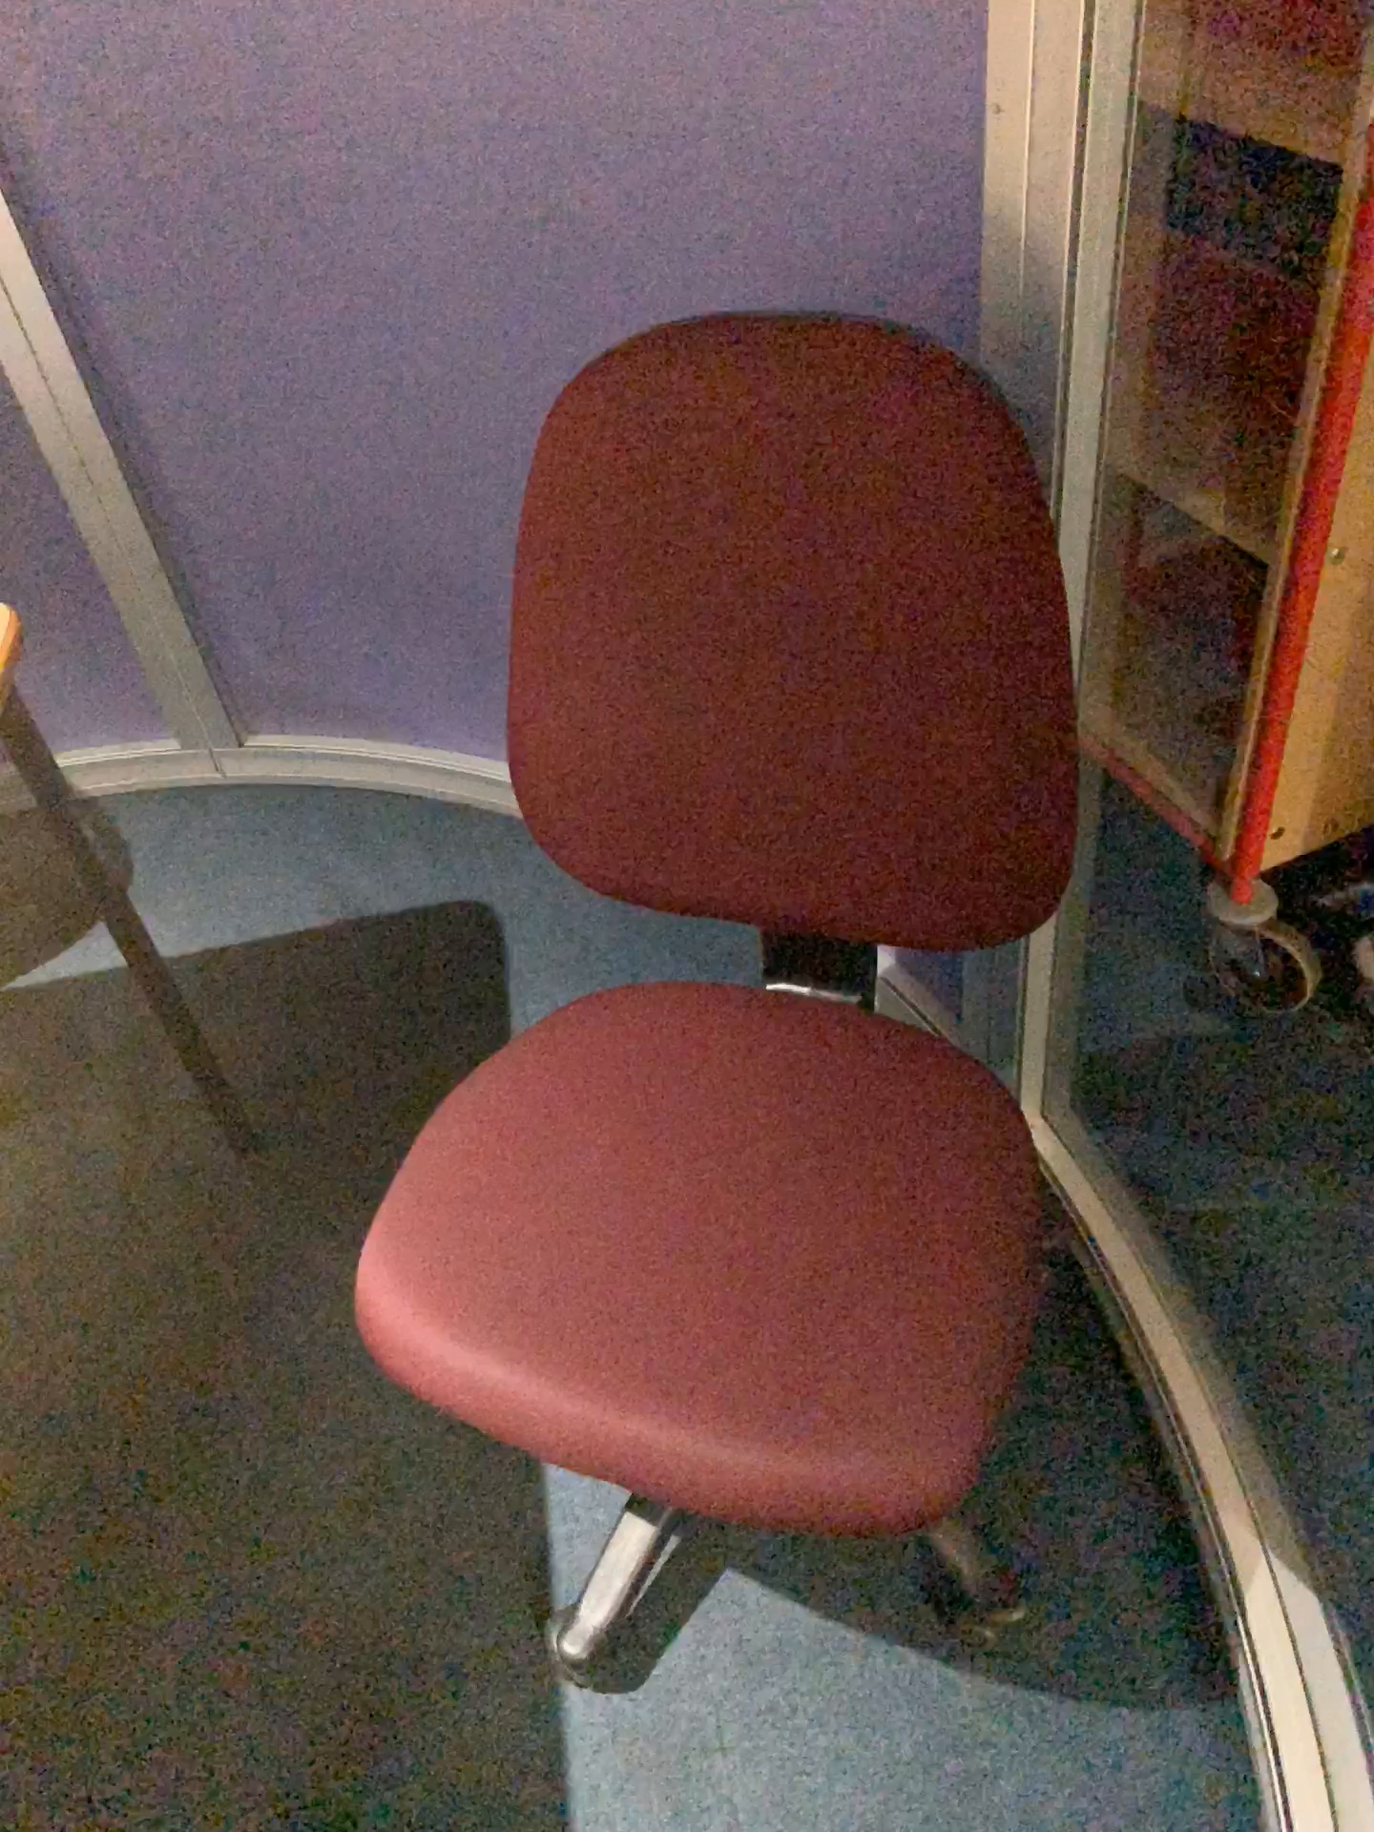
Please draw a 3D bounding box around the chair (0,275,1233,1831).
[{"bbox_3d":[0.050,0.051,1.116,0.581,0.772,0.857,8,46,18],"label":"chair"}]
